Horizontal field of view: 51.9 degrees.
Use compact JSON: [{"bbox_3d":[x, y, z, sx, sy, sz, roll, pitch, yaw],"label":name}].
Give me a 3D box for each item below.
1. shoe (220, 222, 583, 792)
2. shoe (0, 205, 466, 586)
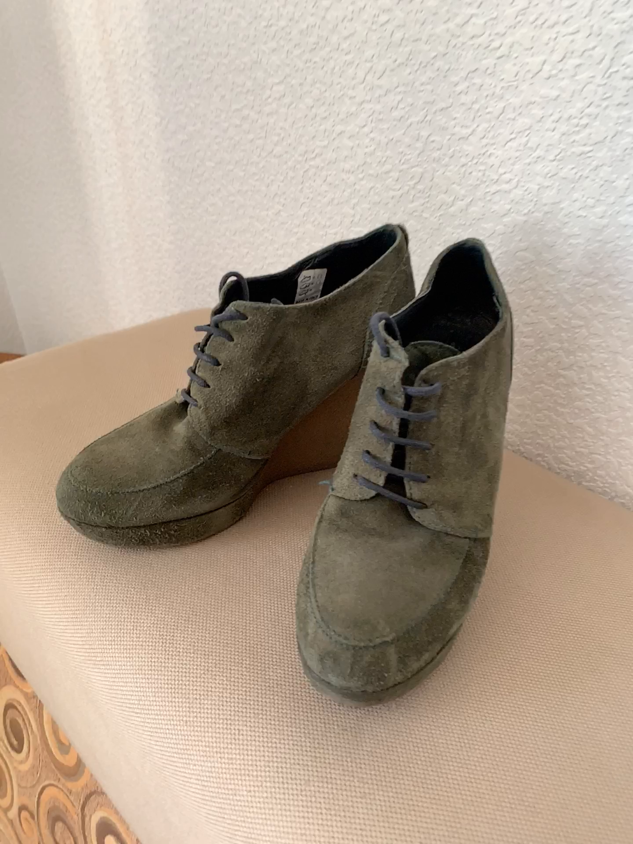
[{"bbox_3d":[0.062,0.012,0.338,0.080,0.139,0.271,16,39,20],"label":"shoe"},{"bbox_3d":[-0.040,-0.026,0.374,0.229,0.136,0.087,-19,40,-24],"label":"shoe"}]
